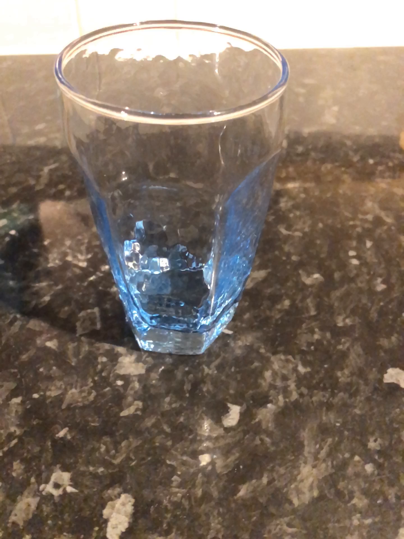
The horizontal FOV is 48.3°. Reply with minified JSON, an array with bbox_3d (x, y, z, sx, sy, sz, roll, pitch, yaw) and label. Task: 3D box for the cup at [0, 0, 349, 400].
[{"bbox_3d":[-0.010,-0.027,0.177,0.080,0.119,0.070,-34,55,-30],"label":"cup"}]
